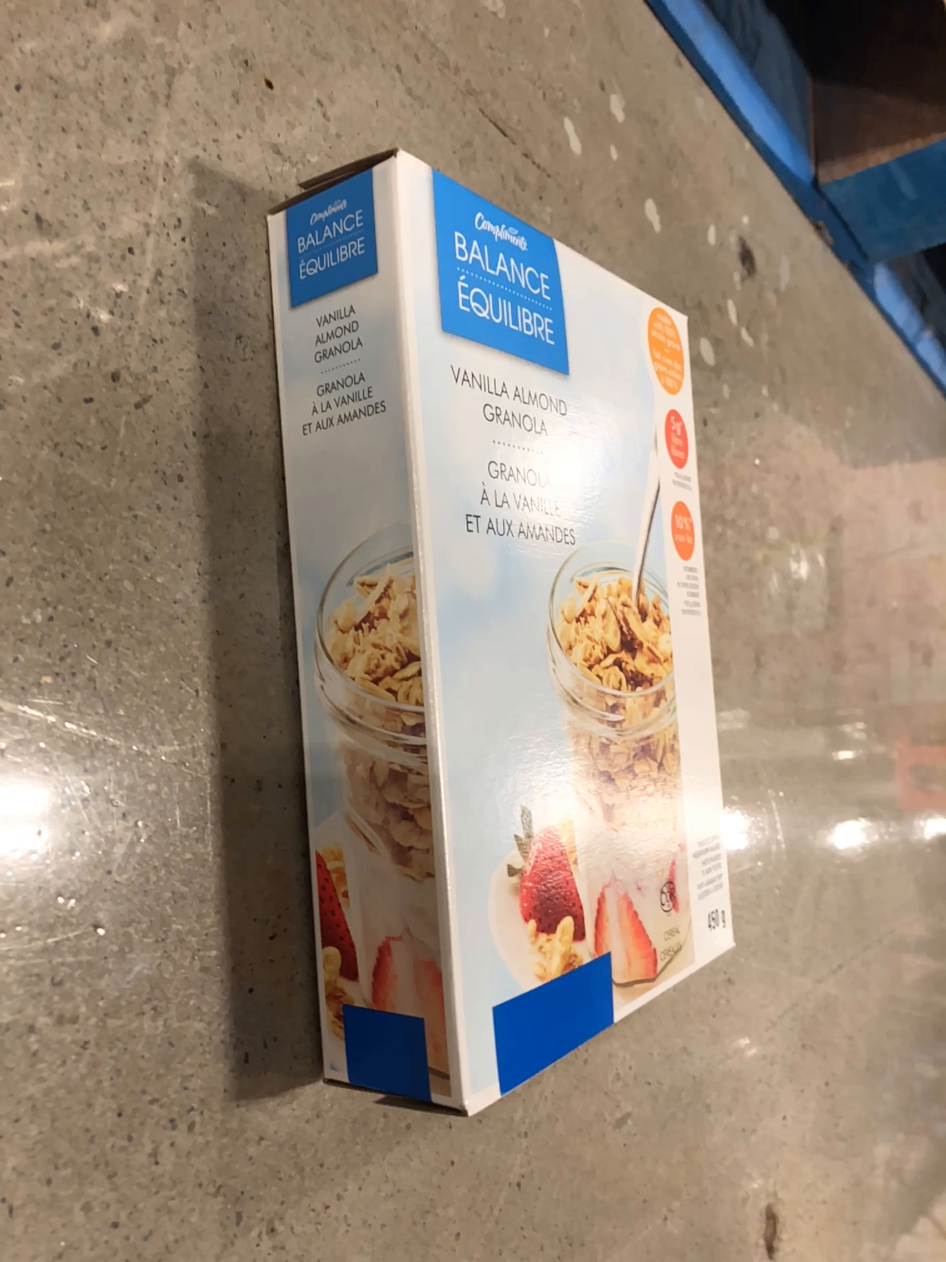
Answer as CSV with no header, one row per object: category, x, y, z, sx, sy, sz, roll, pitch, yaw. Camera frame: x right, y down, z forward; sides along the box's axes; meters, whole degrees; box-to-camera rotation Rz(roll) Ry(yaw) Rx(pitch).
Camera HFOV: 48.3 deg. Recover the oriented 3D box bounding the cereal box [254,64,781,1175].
cereal box,0.028,-0.003,0.319,0.191,0.050,0.240,1,86,-54
